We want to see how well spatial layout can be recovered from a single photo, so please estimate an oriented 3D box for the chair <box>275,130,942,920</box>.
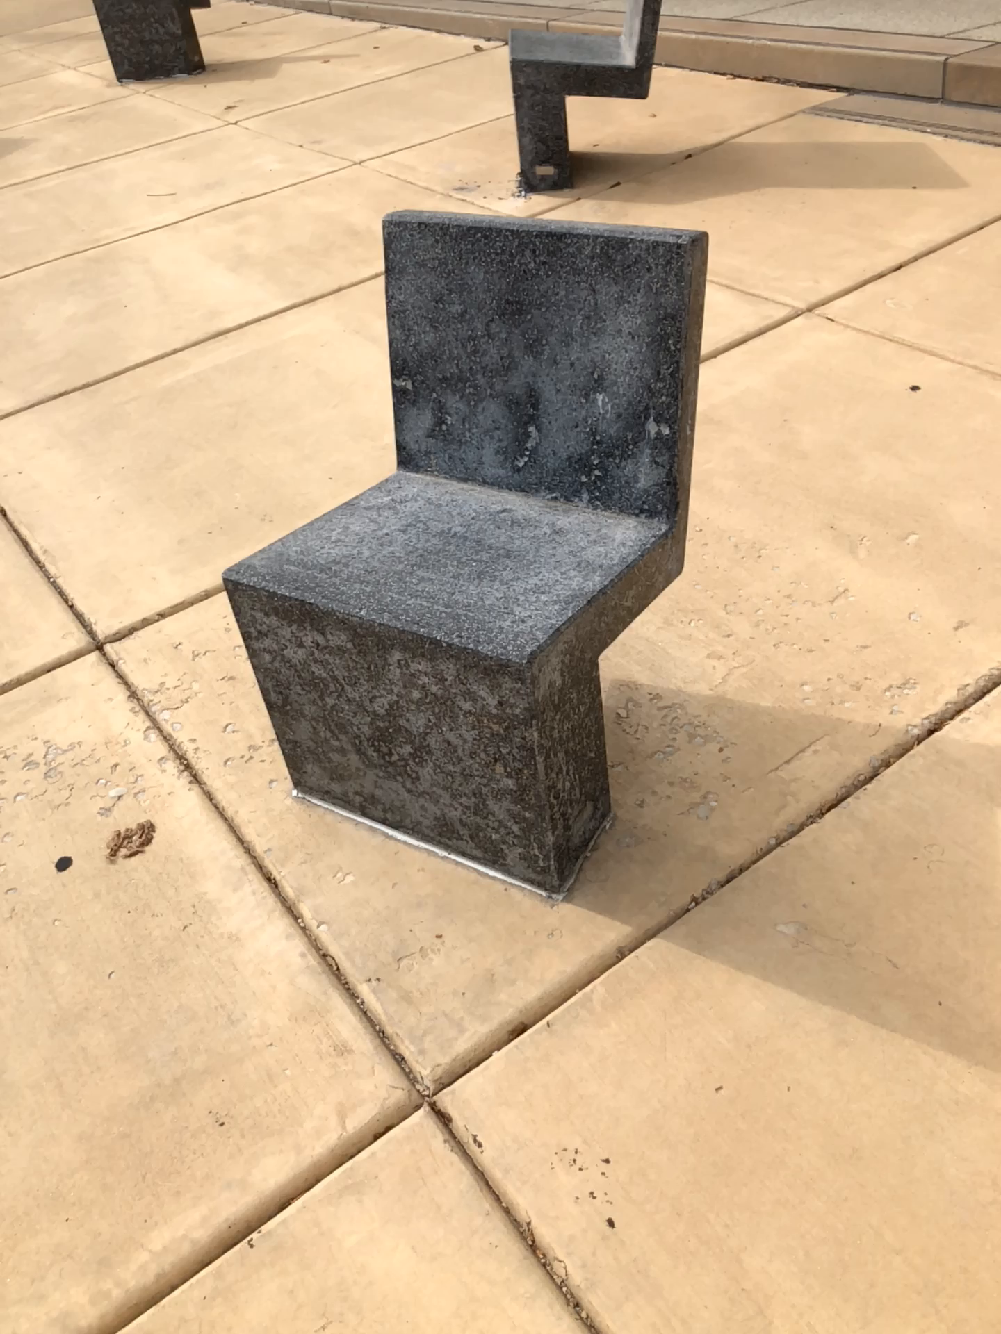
[{"bbox_3d":[0.143,-0.227,1.504,0.571,0.798,0.561,21,41,27],"label":"chair"}]
